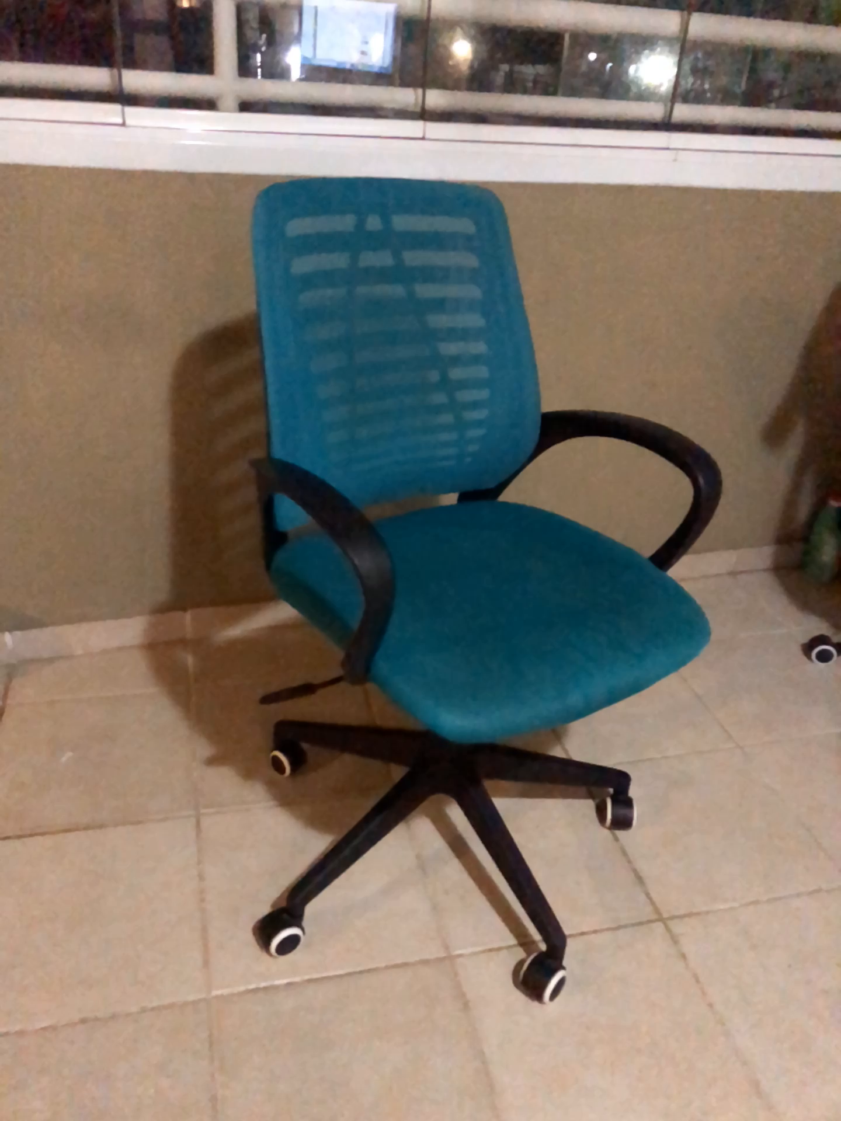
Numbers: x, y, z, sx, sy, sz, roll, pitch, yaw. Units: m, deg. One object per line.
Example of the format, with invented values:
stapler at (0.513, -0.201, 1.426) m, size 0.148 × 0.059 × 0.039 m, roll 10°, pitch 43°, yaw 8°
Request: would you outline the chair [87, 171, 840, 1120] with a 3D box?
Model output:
chair at (0.057, 0.014, 1.277) m, size 0.712 × 0.923 × 0.744 m, roll -15°, pitch 34°, yaw -30°
